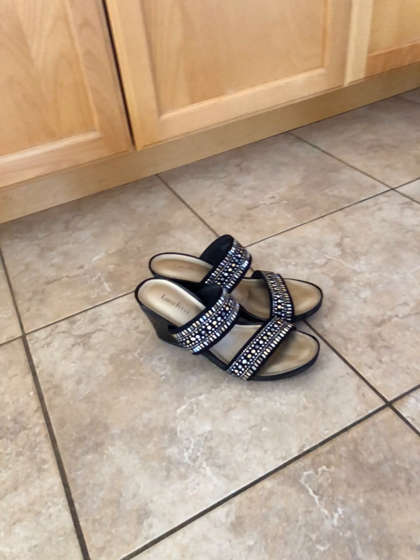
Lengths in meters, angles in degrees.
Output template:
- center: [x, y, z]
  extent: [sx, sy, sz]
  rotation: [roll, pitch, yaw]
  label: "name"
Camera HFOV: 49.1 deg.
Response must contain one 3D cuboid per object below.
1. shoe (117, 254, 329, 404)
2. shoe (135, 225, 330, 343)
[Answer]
- center: [0.018, 0.052, 0.545]
  extent: [0.220, 0.100, 0.090]
  rotation: [10, 43, 20]
  label: "shoe"
- center: [0.032, 0.004, 0.591]
  extent: [0.220, 0.100, 0.110]
  rotation: [0, 40, 8]
  label: "shoe"
